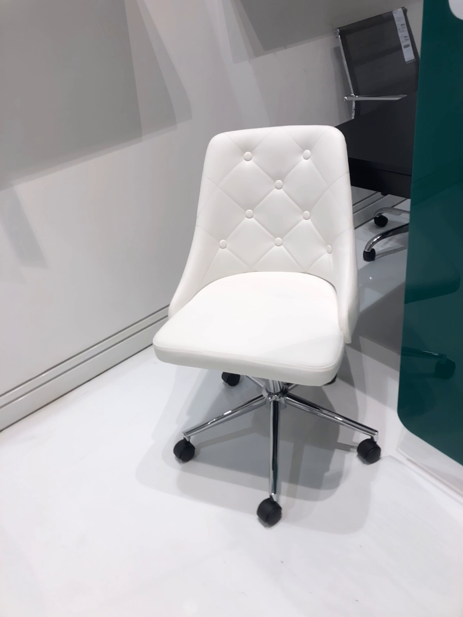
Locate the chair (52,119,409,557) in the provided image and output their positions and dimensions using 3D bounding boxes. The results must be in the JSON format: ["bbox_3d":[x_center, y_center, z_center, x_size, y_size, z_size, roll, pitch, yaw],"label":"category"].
[{"bbox_3d":[0.104,0.038,1.356,0.601,0.853,0.644,6,36,24],"label":"chair"}]
